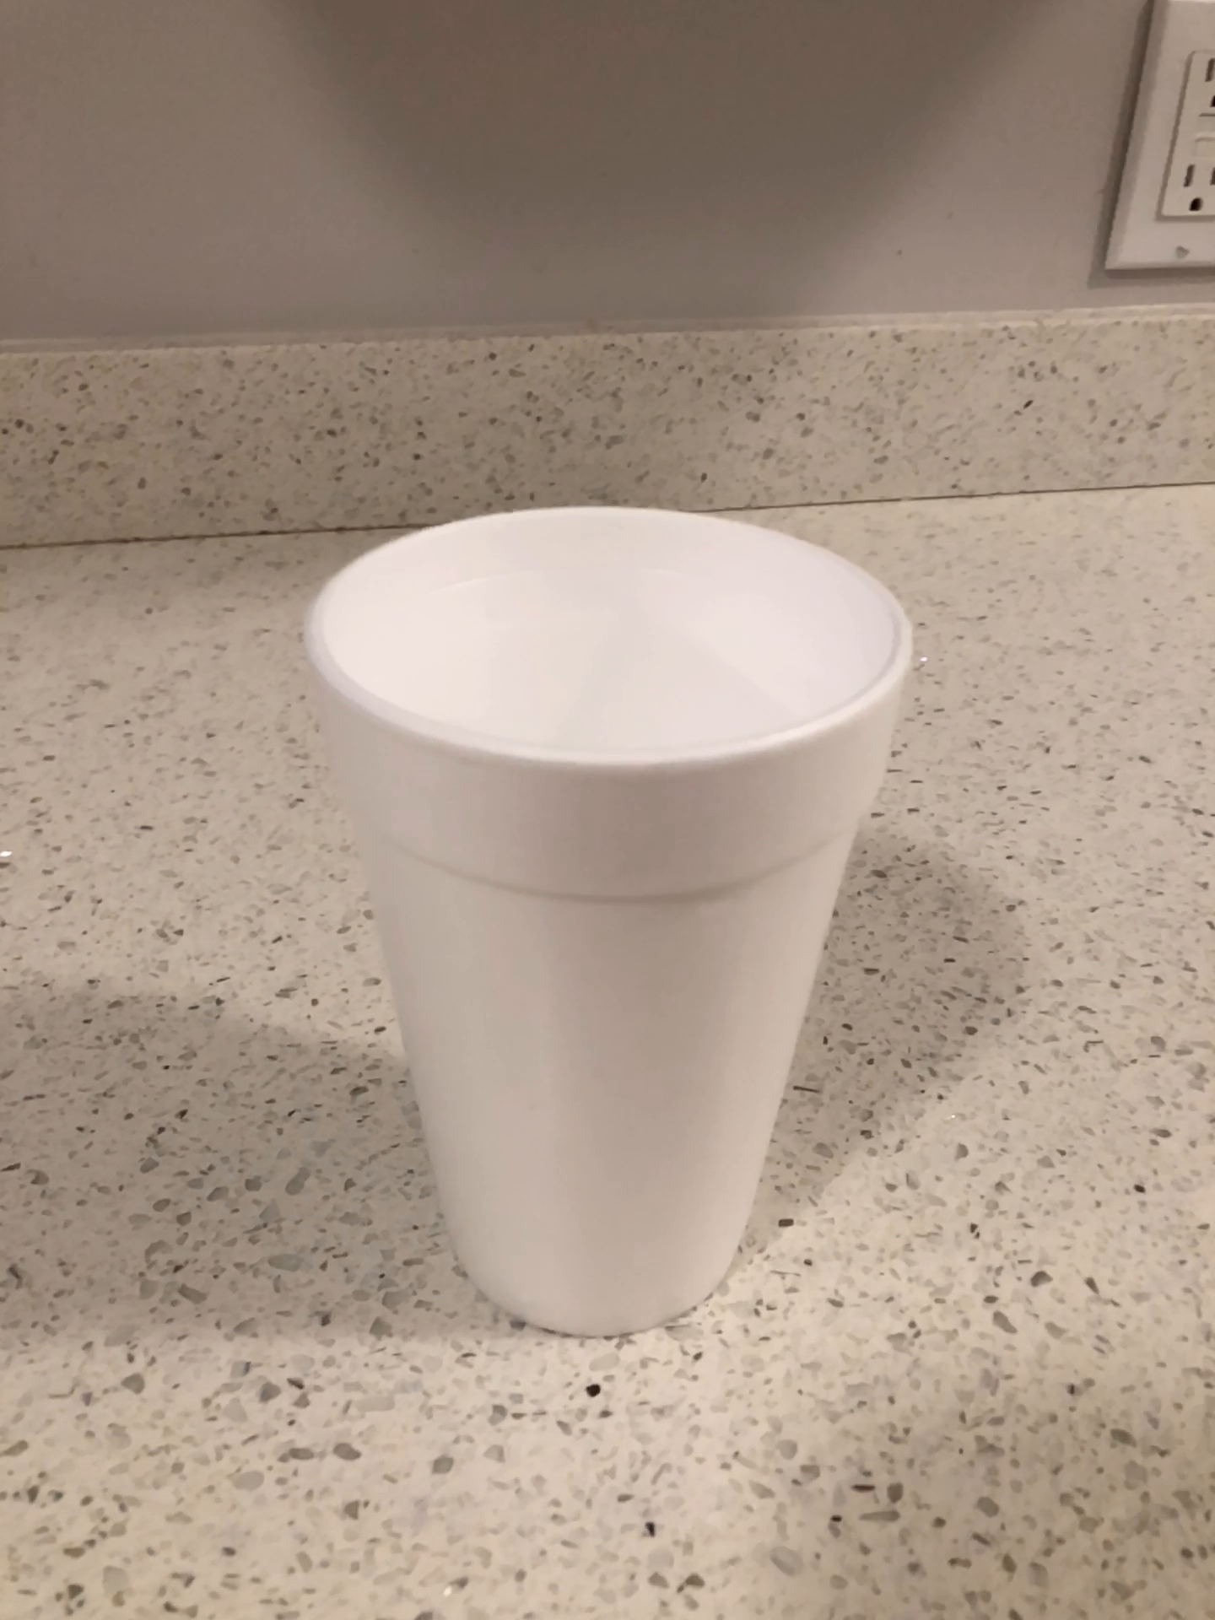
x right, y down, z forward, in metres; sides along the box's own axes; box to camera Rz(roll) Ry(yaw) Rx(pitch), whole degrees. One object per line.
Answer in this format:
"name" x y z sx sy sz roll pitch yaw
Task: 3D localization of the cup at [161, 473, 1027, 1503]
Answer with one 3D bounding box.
"cup" -0.001 0.021 0.226 0.090 0.118 0.088 0 32 0
